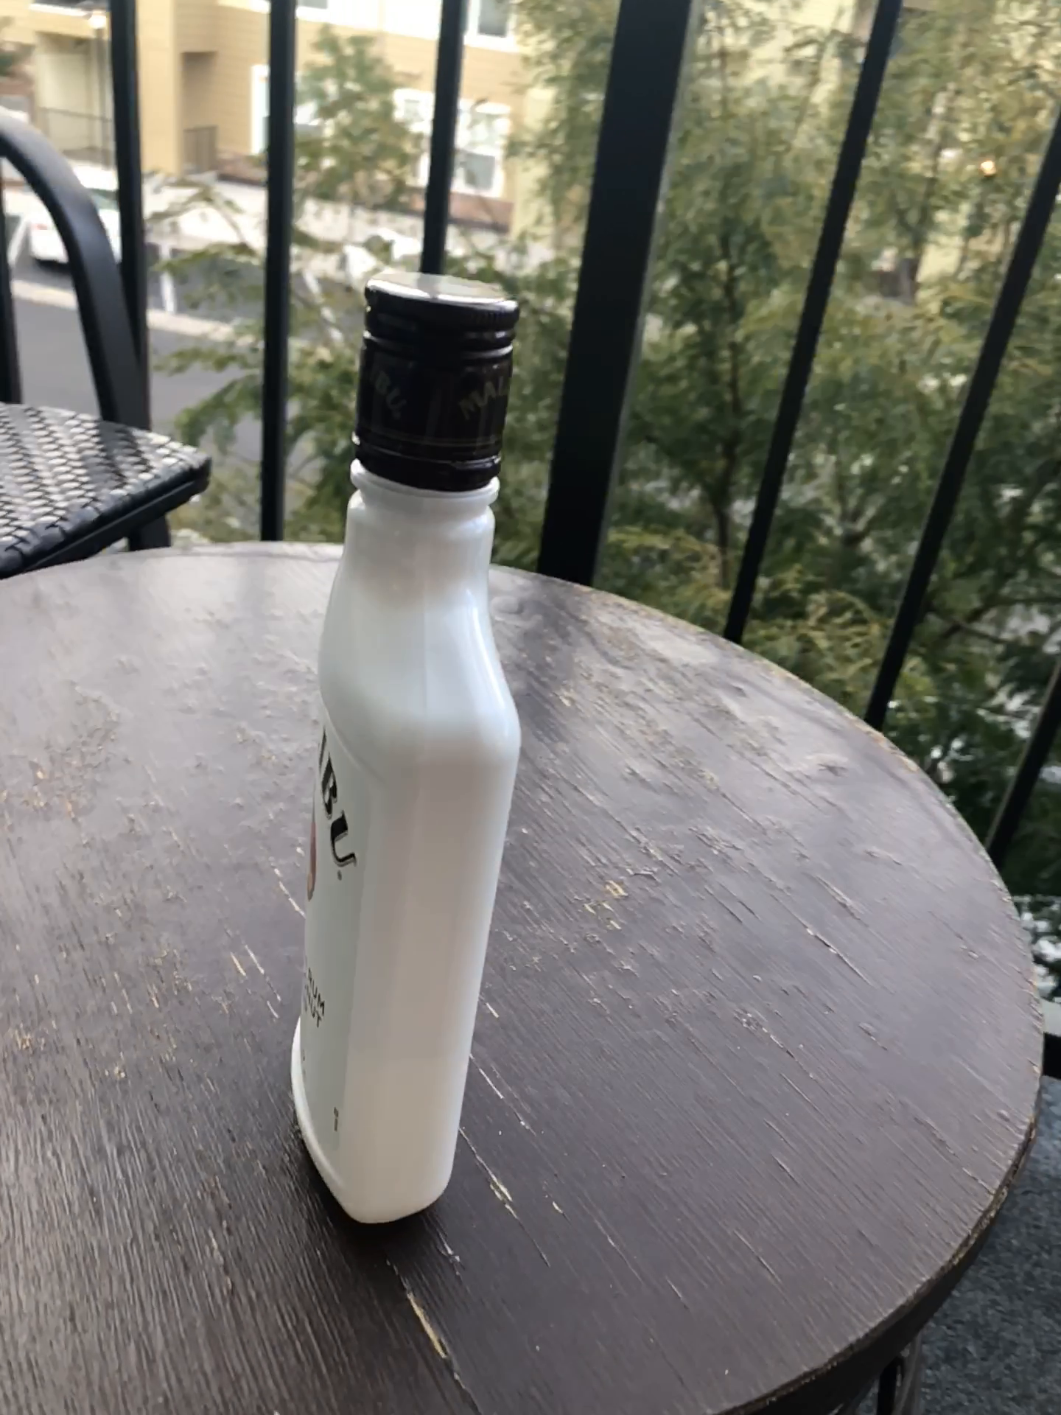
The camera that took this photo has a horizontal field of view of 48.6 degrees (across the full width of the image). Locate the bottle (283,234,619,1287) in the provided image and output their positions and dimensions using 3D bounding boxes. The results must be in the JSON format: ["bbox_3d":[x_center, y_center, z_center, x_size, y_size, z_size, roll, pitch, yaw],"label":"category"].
[{"bbox_3d":[-0.031,0.017,0.263,0.045,0.210,0.100,1,31,-12],"label":"bottle"}]
